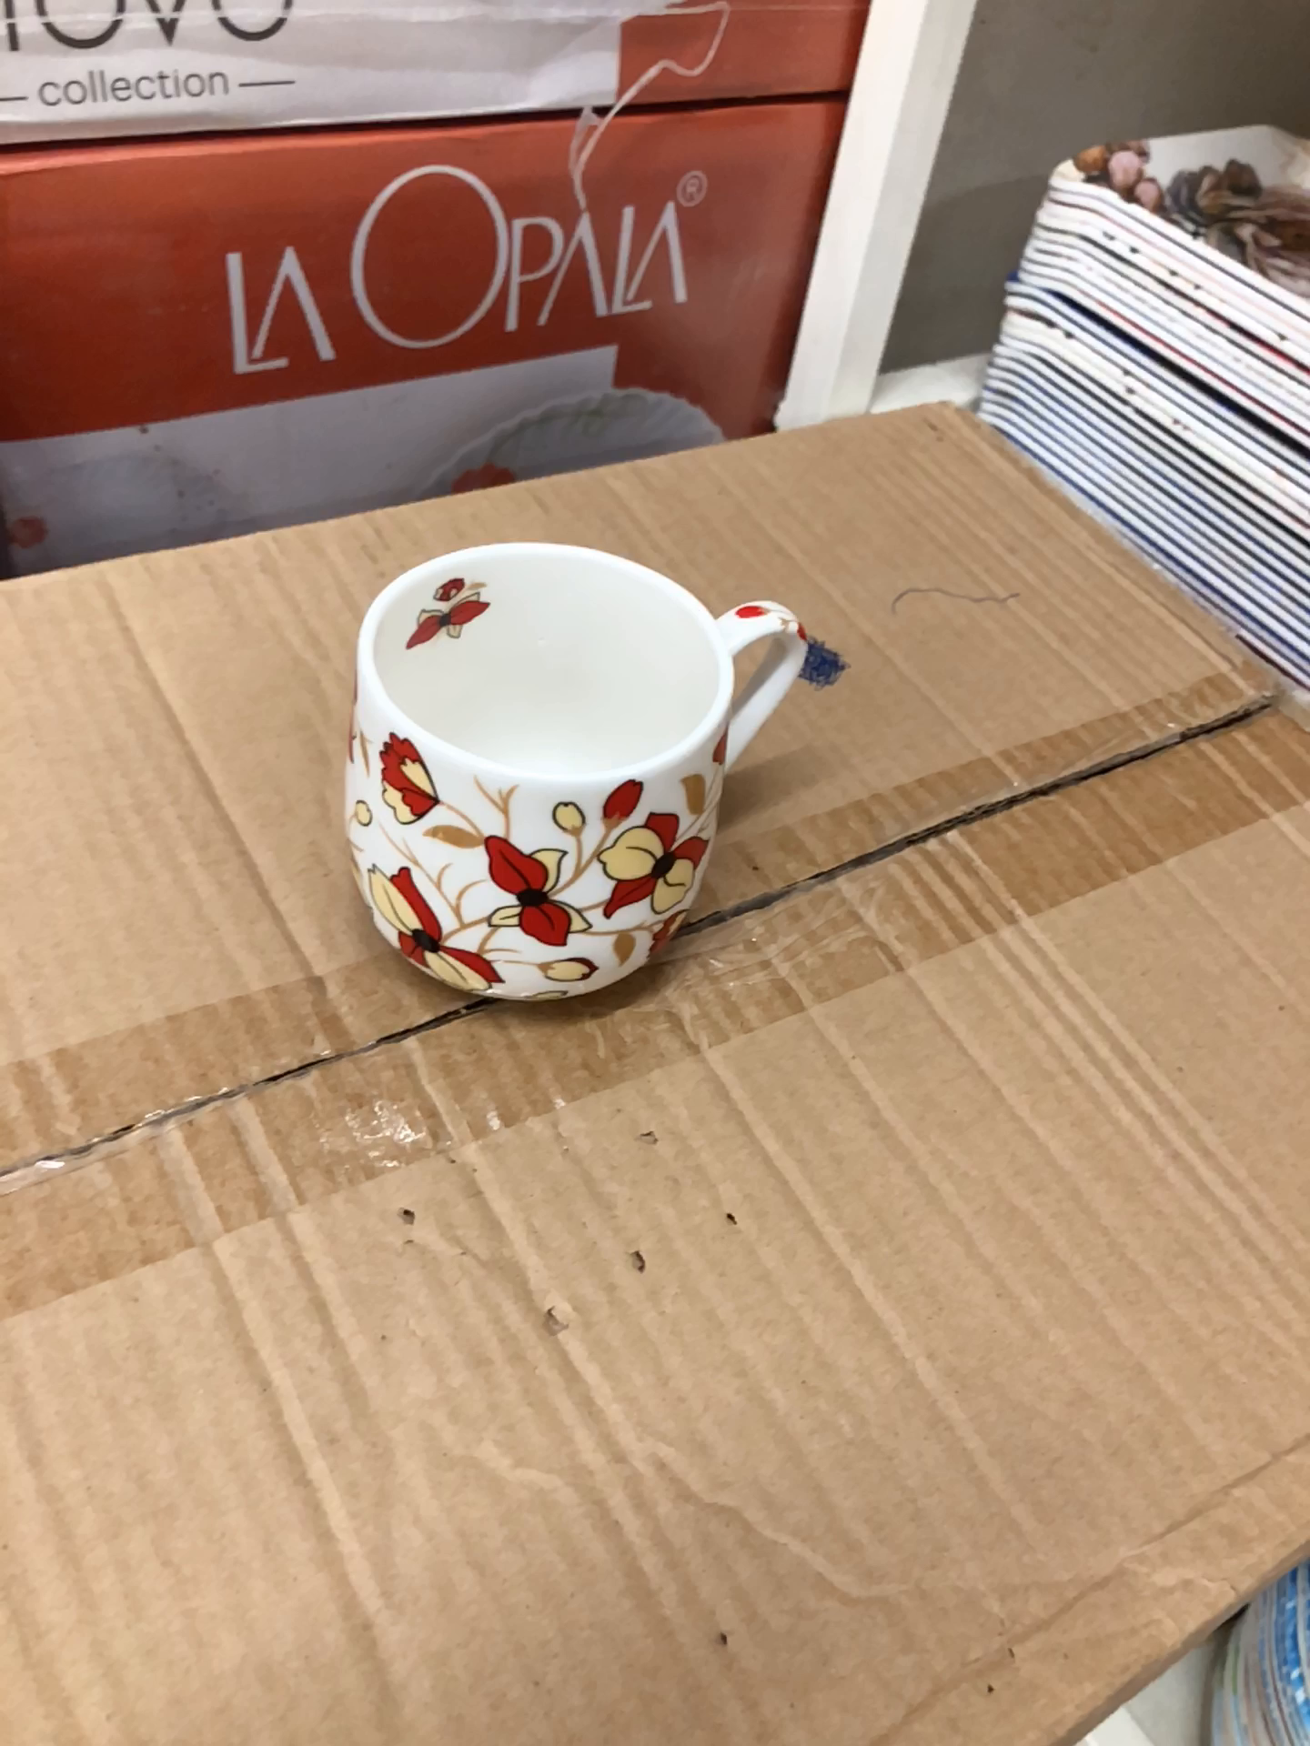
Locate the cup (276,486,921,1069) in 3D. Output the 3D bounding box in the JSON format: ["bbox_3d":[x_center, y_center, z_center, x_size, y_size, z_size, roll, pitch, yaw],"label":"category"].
[{"bbox_3d":[-0.013,-0.020,0.264,0.090,0.060,0.060,-19,53,-27],"label":"cup"}]
